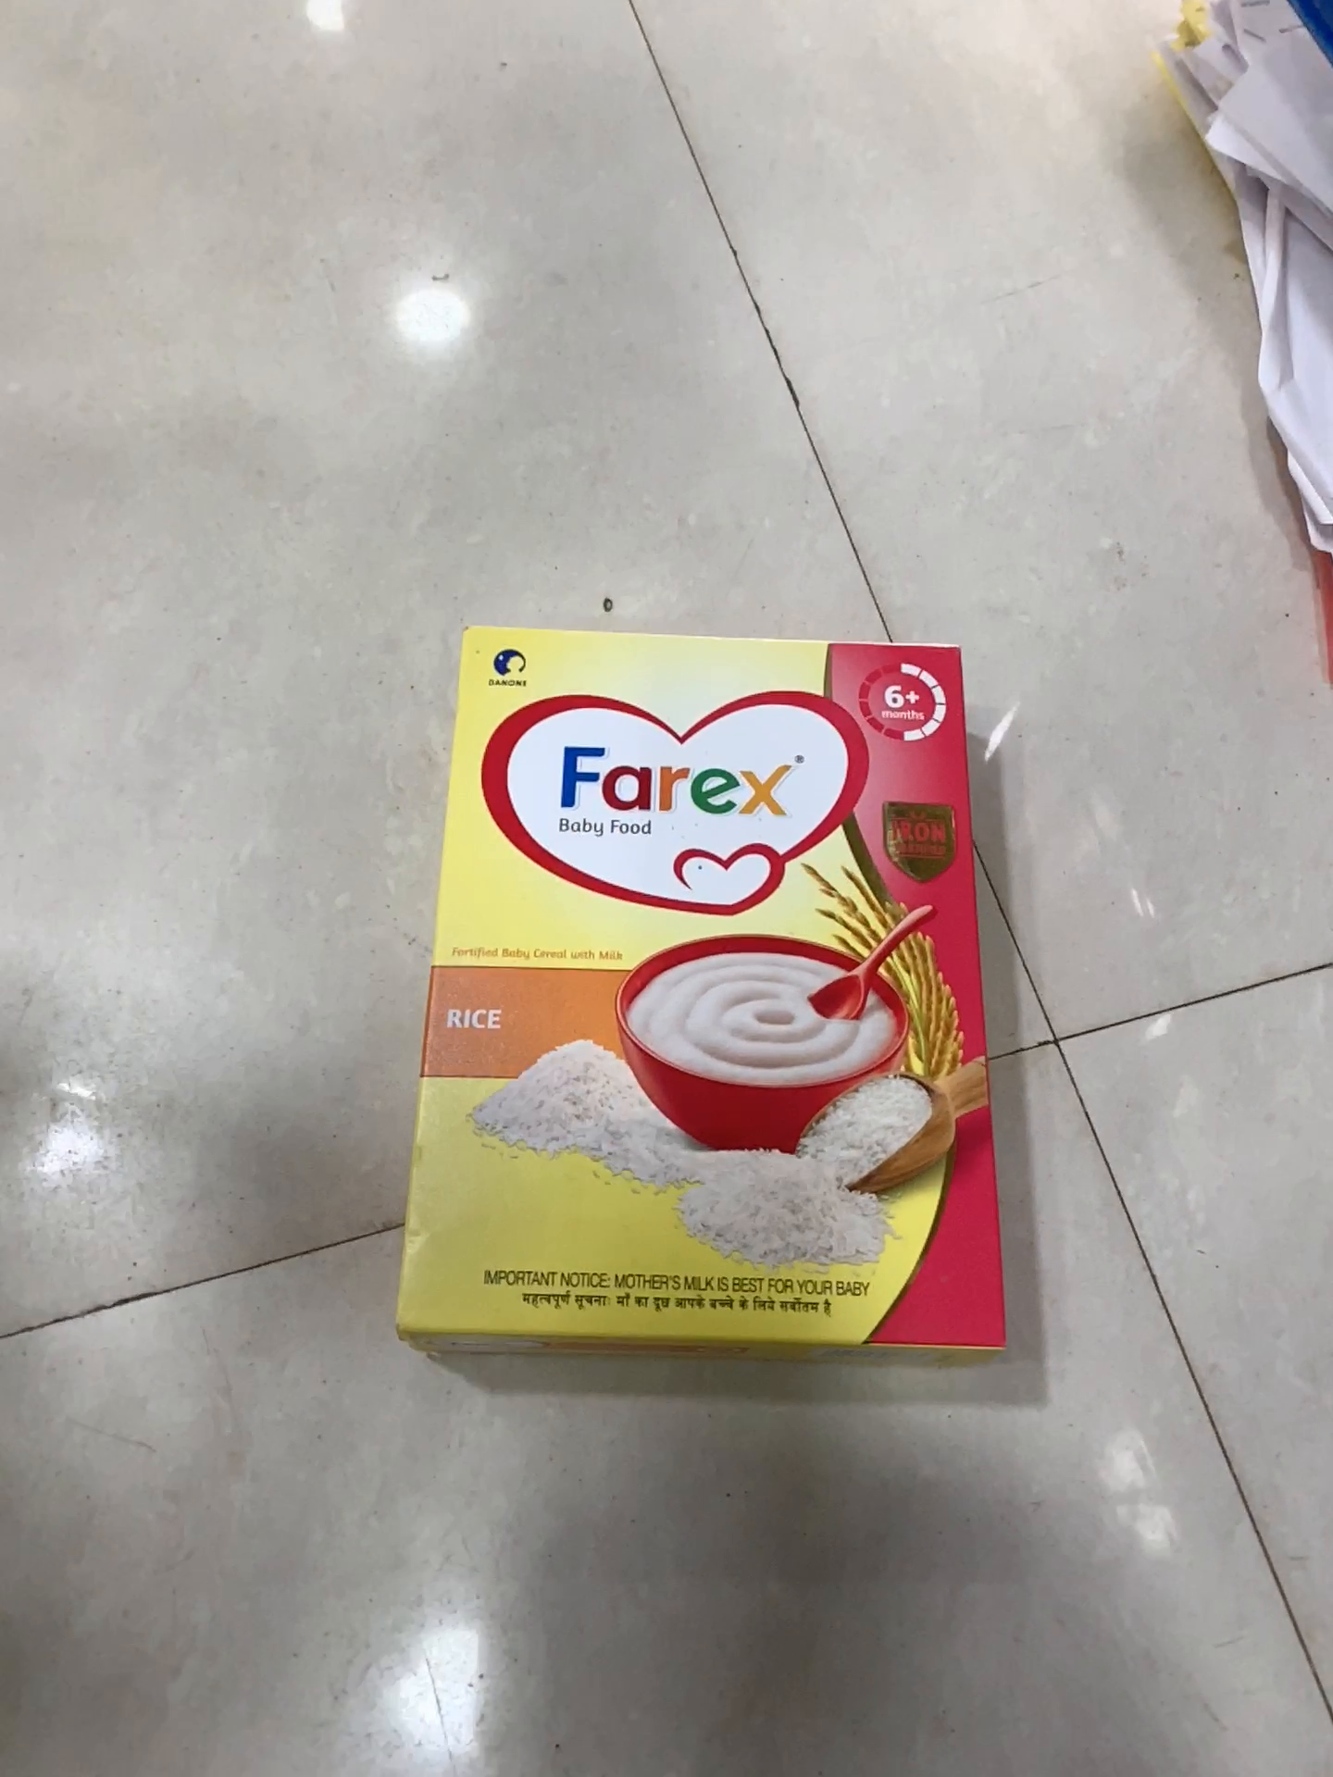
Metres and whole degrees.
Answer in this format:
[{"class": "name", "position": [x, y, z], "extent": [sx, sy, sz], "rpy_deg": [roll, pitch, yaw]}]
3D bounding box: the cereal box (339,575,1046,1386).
[{"class": "cereal box", "position": [0.008, 0.022, 0.378], "extent": [0.160, 0.060, 0.210], "rpy_deg": [2, 67, -2]}]
